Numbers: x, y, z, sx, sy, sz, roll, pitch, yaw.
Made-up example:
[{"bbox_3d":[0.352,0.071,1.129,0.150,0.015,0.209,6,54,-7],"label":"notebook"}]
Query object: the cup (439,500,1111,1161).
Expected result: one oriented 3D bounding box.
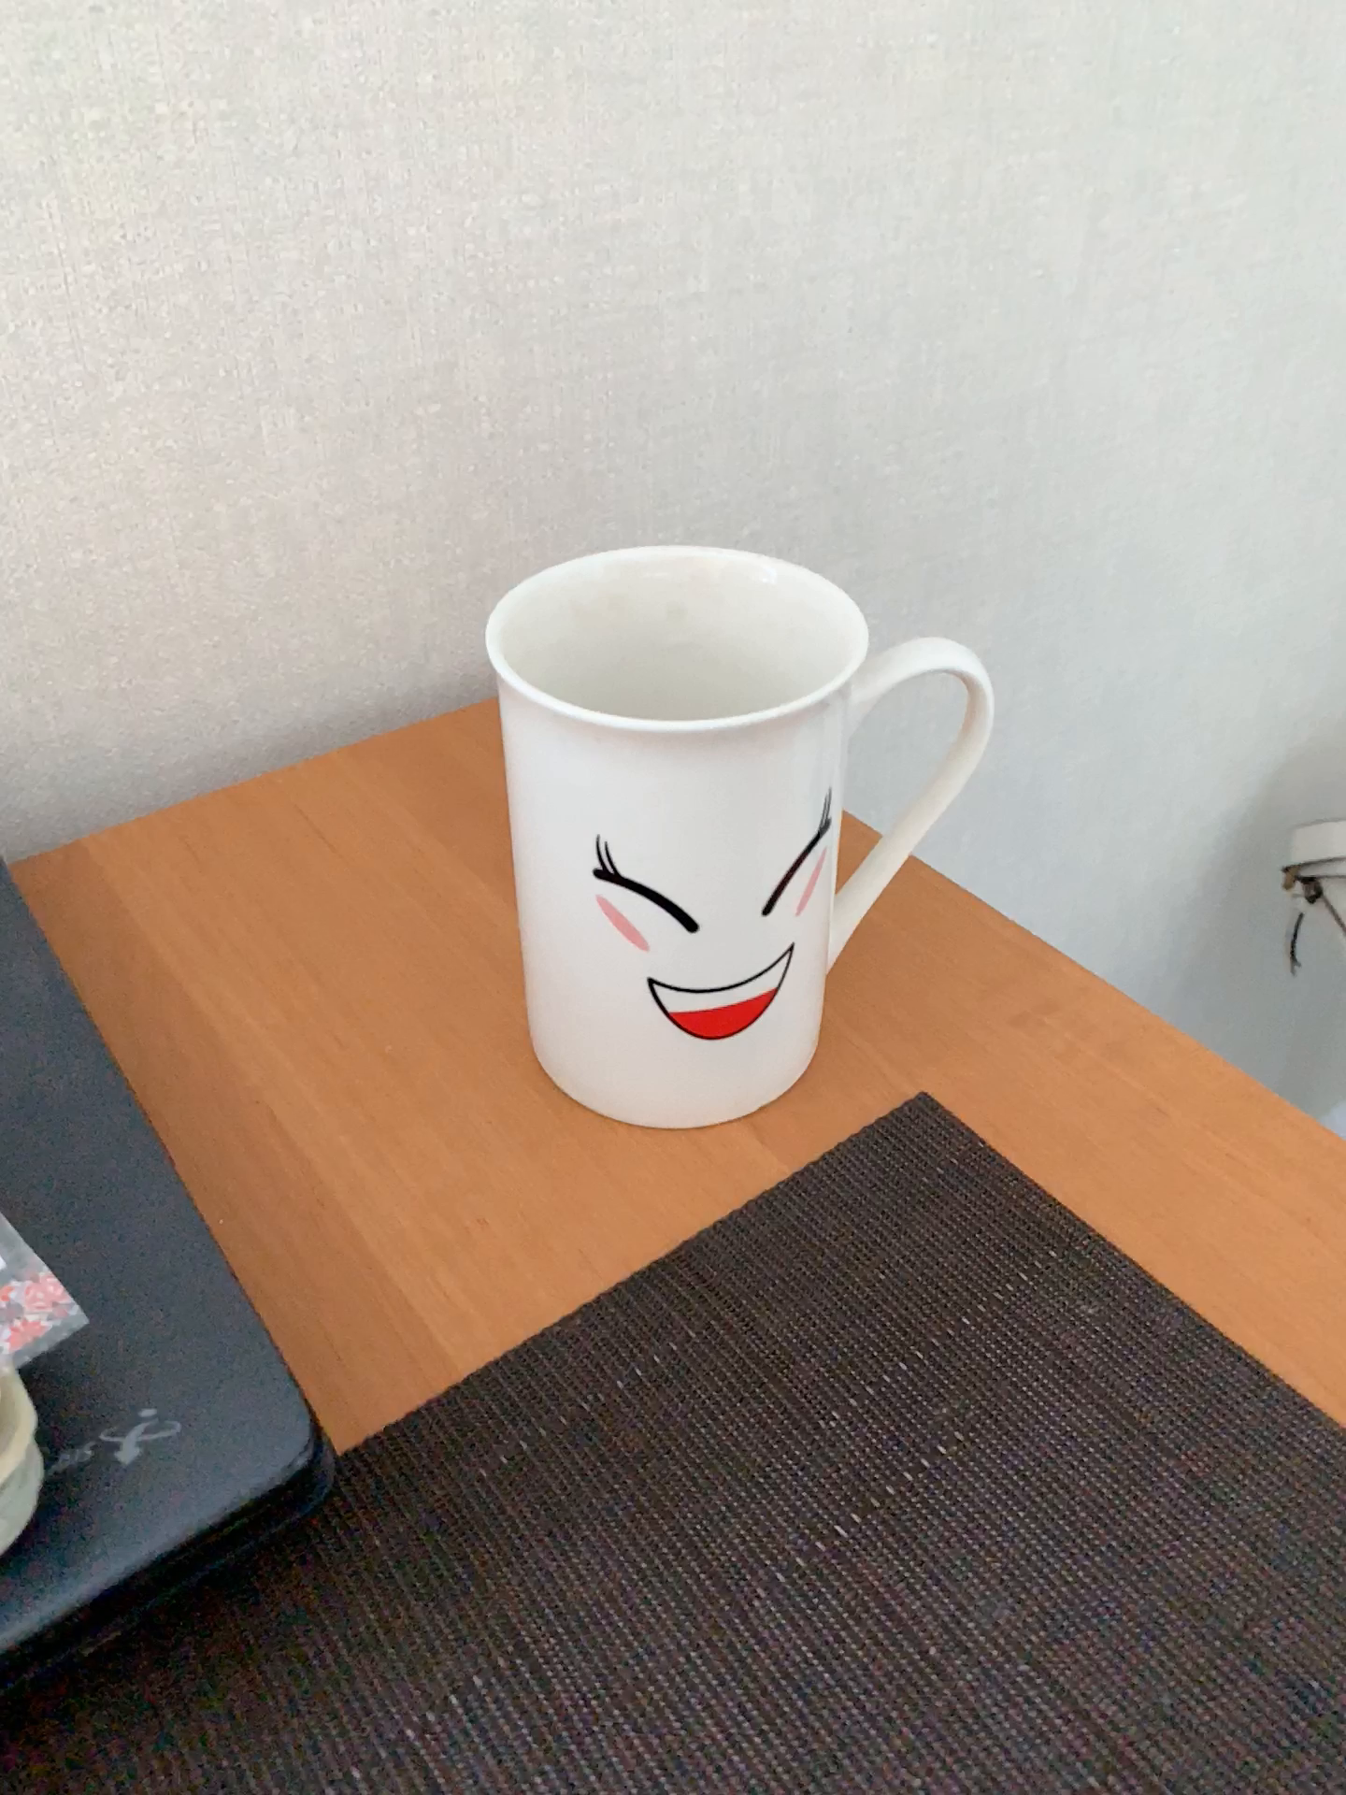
[{"bbox_3d":[0.016,-0.018,0.294,0.107,0.095,0.080,-11,37,-14],"label":"cup"}]
